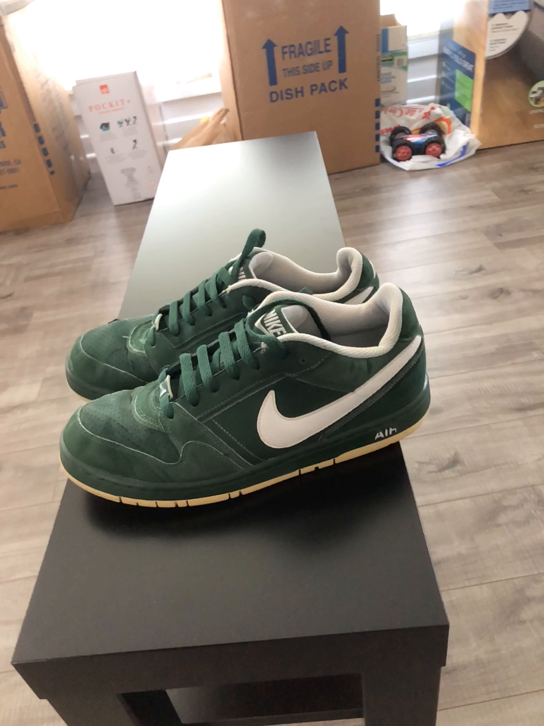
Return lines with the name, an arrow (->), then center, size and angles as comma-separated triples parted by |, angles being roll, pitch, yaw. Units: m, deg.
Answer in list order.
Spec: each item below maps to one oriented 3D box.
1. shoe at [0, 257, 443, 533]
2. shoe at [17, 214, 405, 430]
shoe -> -0.034, 0.021, 0.428 | 0.280, 0.100, 0.111 | -11, 37, 3
shoe -> -0.045, -0.035, 0.516 | 0.292, 0.100, 0.100 | -9, 37, 5
